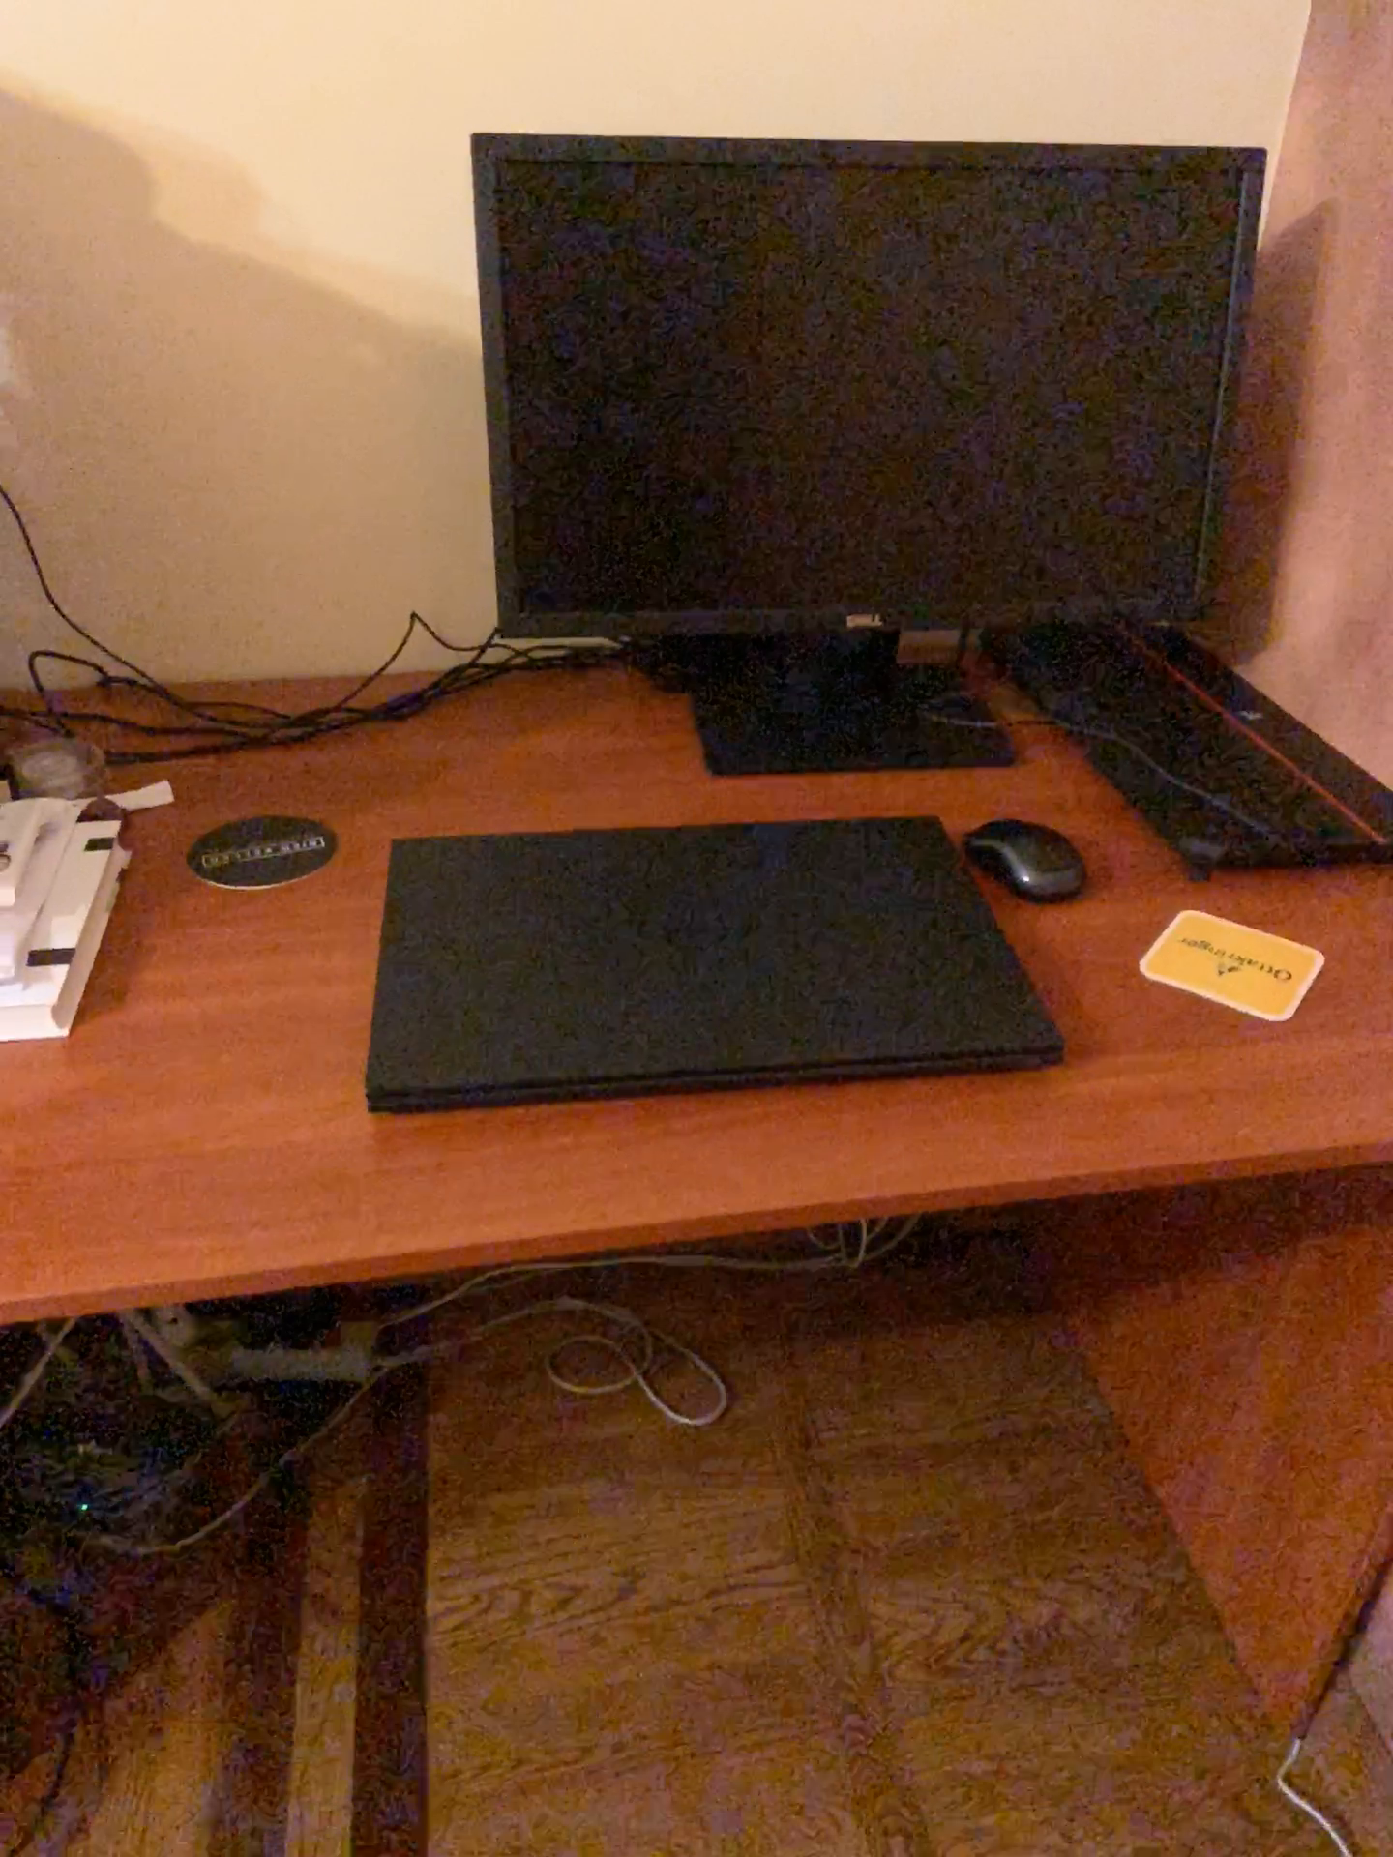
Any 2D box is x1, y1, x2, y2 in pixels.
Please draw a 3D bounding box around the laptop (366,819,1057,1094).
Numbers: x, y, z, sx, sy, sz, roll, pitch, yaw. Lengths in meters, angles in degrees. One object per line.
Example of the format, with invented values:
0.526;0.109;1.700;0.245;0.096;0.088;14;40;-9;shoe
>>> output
-0.001;0.004;0.828;0.359;0.002;0.249;-3;33;-8;laptop
